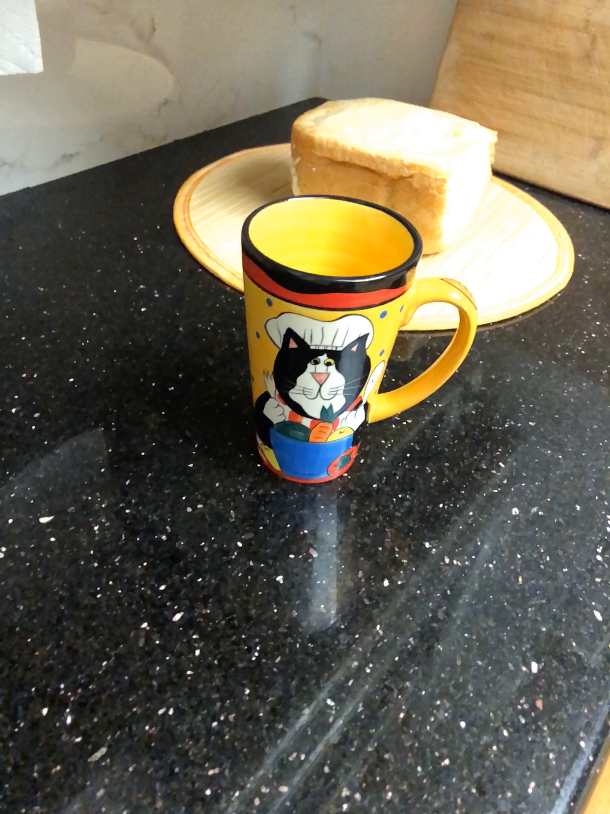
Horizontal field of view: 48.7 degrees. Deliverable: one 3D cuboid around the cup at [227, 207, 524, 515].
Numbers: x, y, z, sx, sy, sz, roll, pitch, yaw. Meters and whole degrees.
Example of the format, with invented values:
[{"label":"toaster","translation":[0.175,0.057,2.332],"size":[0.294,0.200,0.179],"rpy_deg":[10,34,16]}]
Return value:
[{"label":"cup","translation":[0.025,-0.022,0.370],"size":[0.130,0.139,0.091],"rpy_deg":[0,40,-5]}]
